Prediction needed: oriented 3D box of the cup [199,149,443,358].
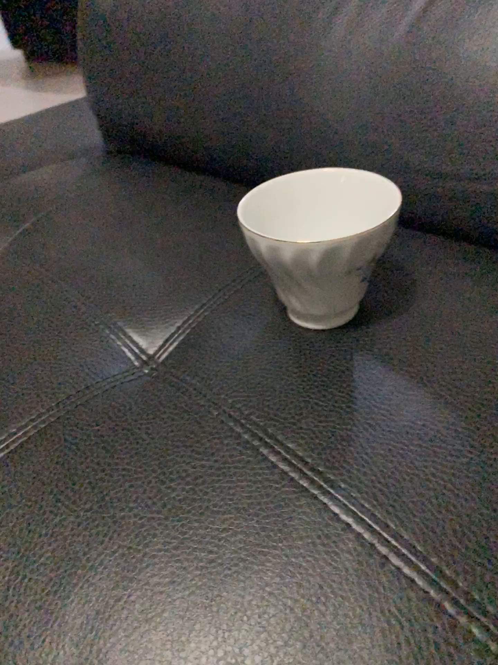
[{"bbox_3d":[0.046,-0.054,0.301,0.094,0.059,0.114,17,43,28],"label":"cup"}]
